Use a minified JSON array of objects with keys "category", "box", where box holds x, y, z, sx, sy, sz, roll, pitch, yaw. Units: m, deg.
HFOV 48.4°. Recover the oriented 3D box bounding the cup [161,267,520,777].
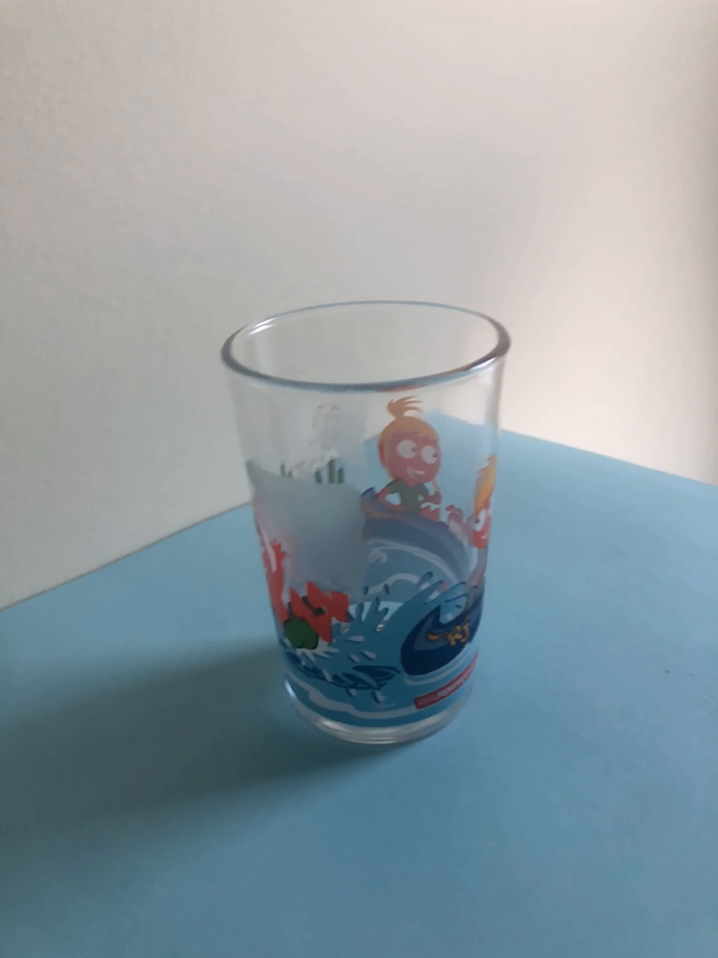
[{"category":"cup","box":[0.002,0.006,0.195,0.060,0.099,0.060,-2,26,1]}]
